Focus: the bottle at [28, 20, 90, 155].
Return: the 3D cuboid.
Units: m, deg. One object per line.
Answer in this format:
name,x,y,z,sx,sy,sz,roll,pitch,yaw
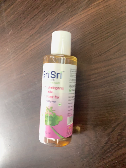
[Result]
bottle,-0.004,0.003,0.157,0.050,0.040,0.130,6,92,26
